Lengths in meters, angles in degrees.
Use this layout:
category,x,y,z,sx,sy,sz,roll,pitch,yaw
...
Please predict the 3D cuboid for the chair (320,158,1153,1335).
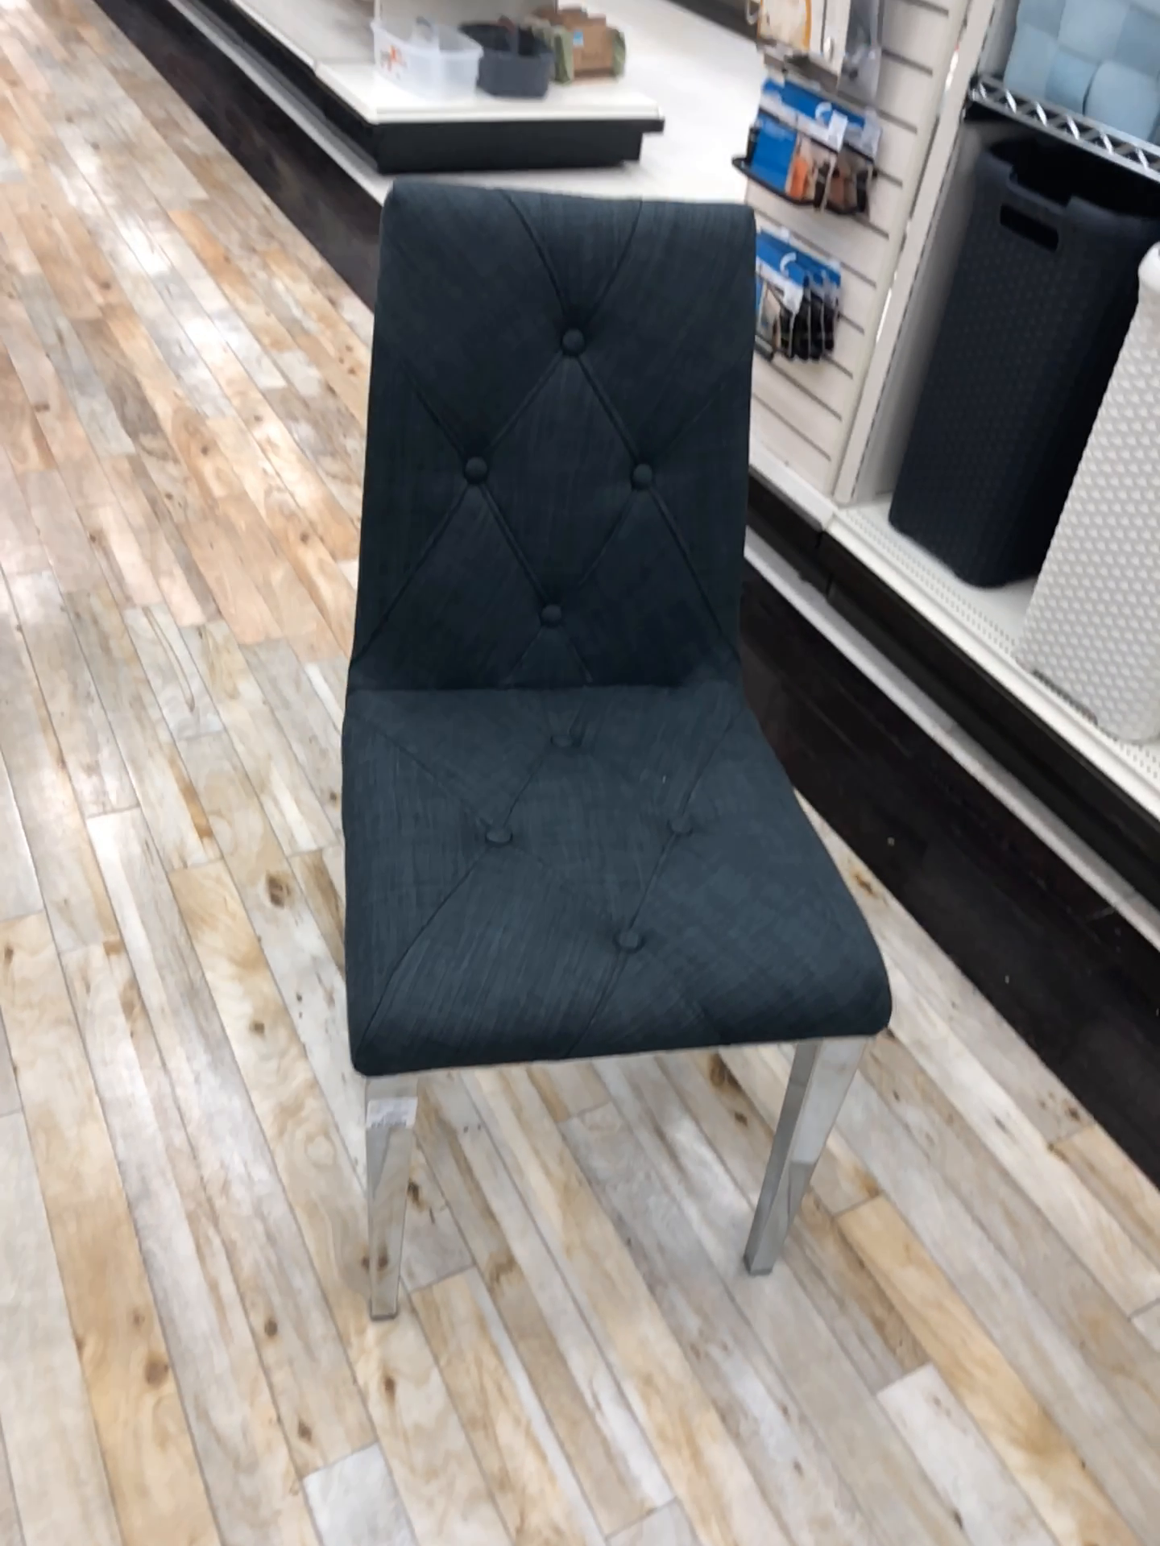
category,x,y,z,sx,sy,sz,roll,pitch,yaw
chair,0.003,0.000,1.178,0.450,0.867,0.582,-2,41,-13
